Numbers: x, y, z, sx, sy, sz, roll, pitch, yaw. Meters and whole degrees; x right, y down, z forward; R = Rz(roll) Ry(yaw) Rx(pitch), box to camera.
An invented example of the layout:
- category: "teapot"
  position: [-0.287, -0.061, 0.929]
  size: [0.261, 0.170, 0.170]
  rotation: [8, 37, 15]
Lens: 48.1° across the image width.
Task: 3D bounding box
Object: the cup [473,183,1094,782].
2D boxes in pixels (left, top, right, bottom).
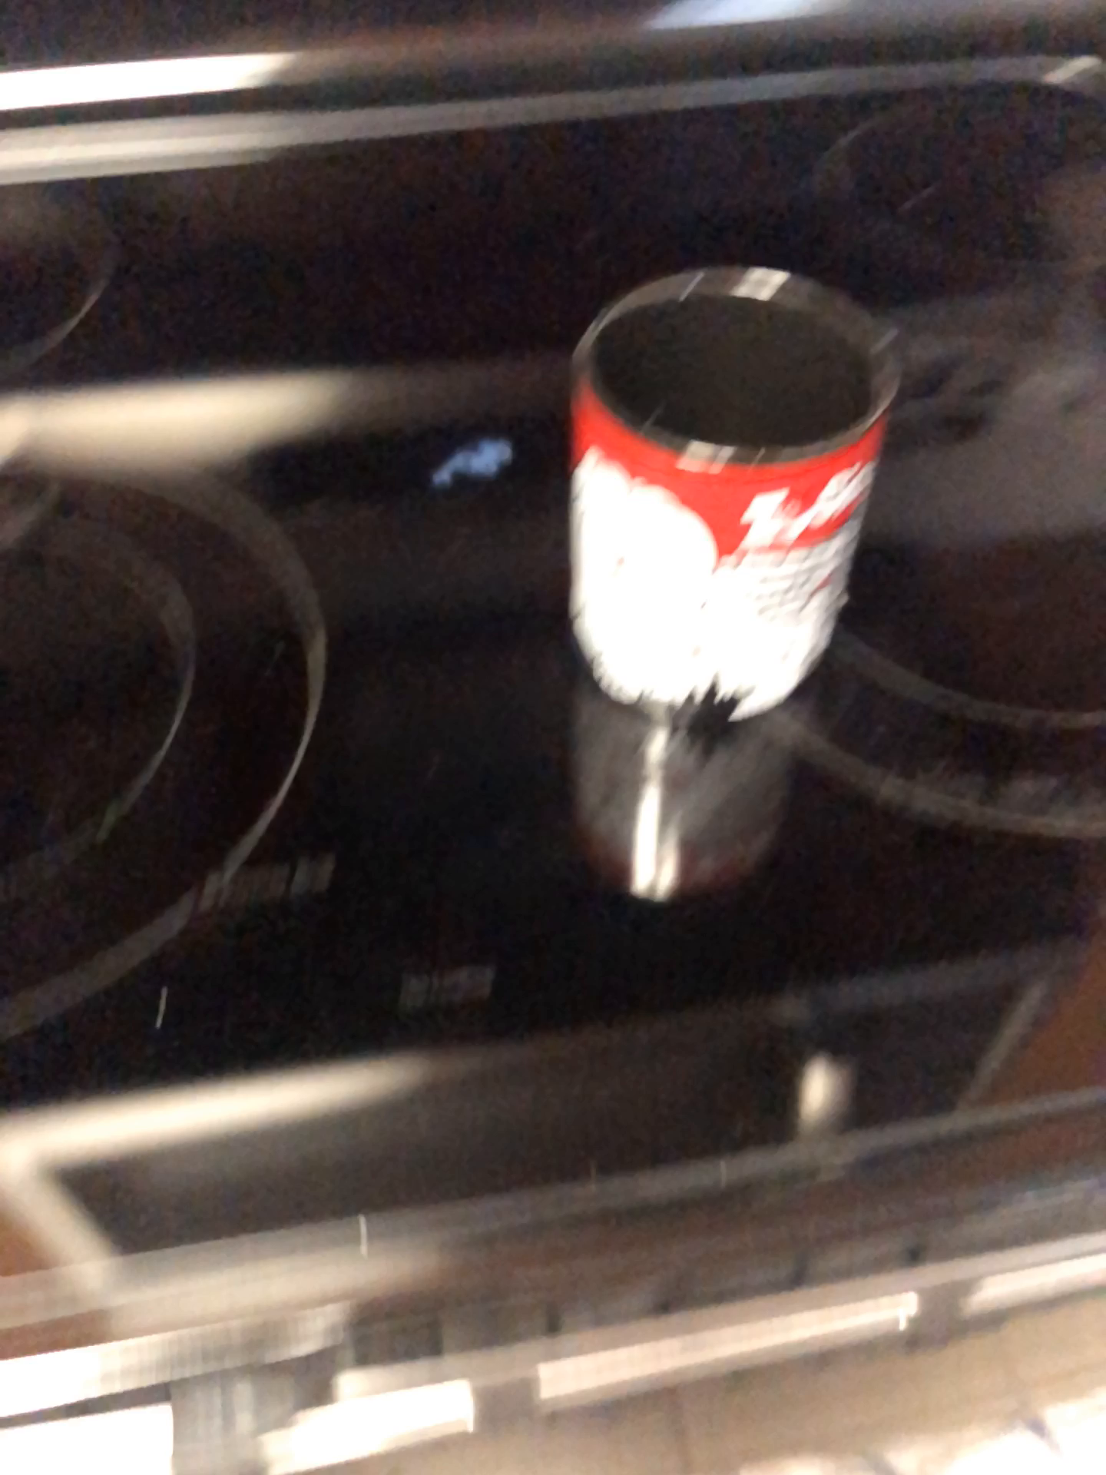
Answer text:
- category: "cup"
  position: [0.059, -0.075, 0.347]
  size: [0.130, 0.090, 0.090]
  rotation: [-31, 57, -23]
